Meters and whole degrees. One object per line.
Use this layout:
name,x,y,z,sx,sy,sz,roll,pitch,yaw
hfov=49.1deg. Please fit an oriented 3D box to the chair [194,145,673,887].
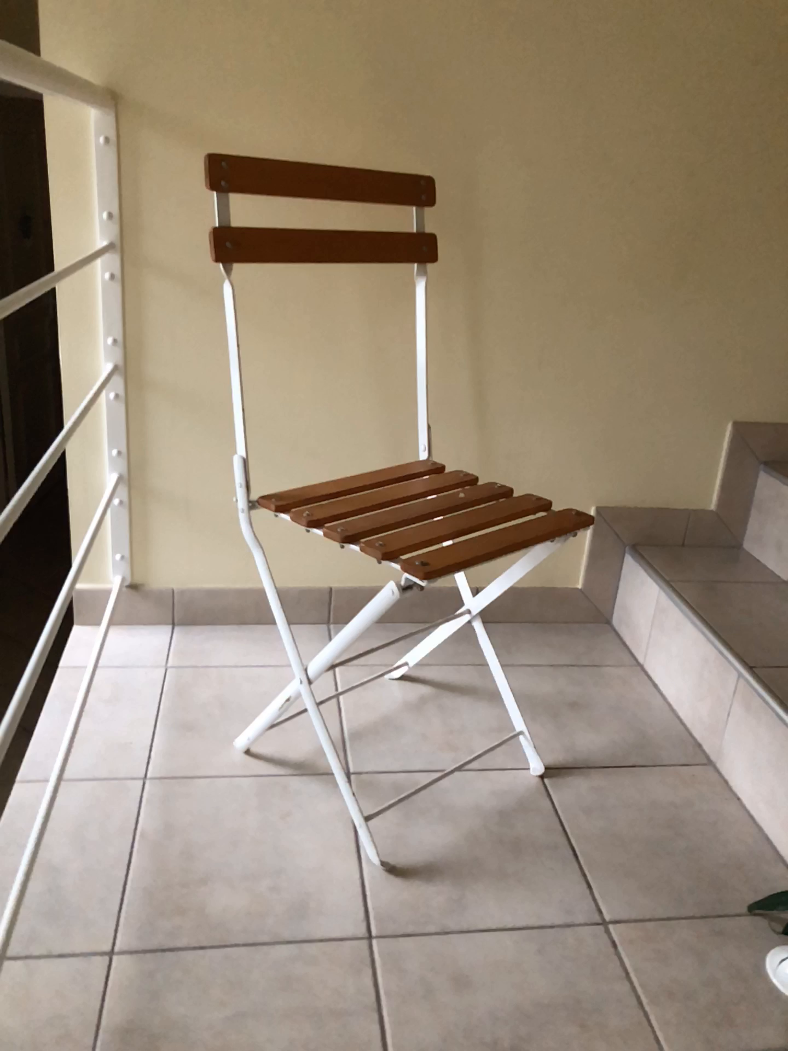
chair,0.028,-0.053,1.251,0.442,0.876,0.430,-15,27,-41
